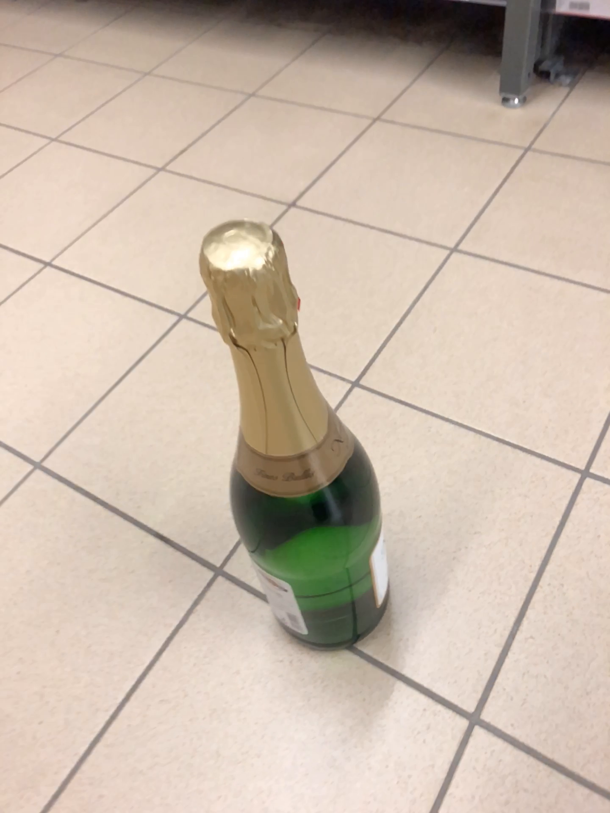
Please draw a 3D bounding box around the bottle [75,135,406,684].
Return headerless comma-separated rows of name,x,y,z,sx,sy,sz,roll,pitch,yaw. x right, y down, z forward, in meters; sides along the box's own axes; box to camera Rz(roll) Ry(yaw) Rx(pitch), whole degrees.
bottle,-0.012,0.033,0.354,0.090,0.298,0.100,-20,50,-7
